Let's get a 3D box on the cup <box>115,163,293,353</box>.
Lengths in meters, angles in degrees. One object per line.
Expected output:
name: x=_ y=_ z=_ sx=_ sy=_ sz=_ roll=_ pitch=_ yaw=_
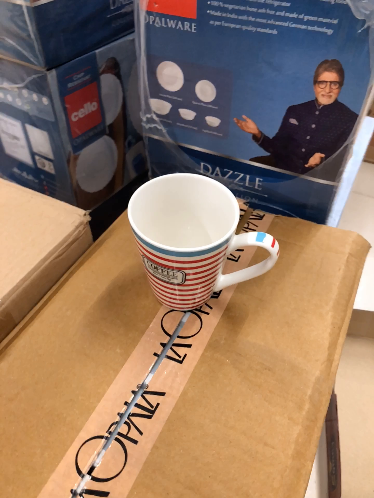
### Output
cup: x=0.017 y=0.006 z=0.335 sx=0.110 sy=0.099 sz=0.091 roll=11 pitch=45 yaw=11
